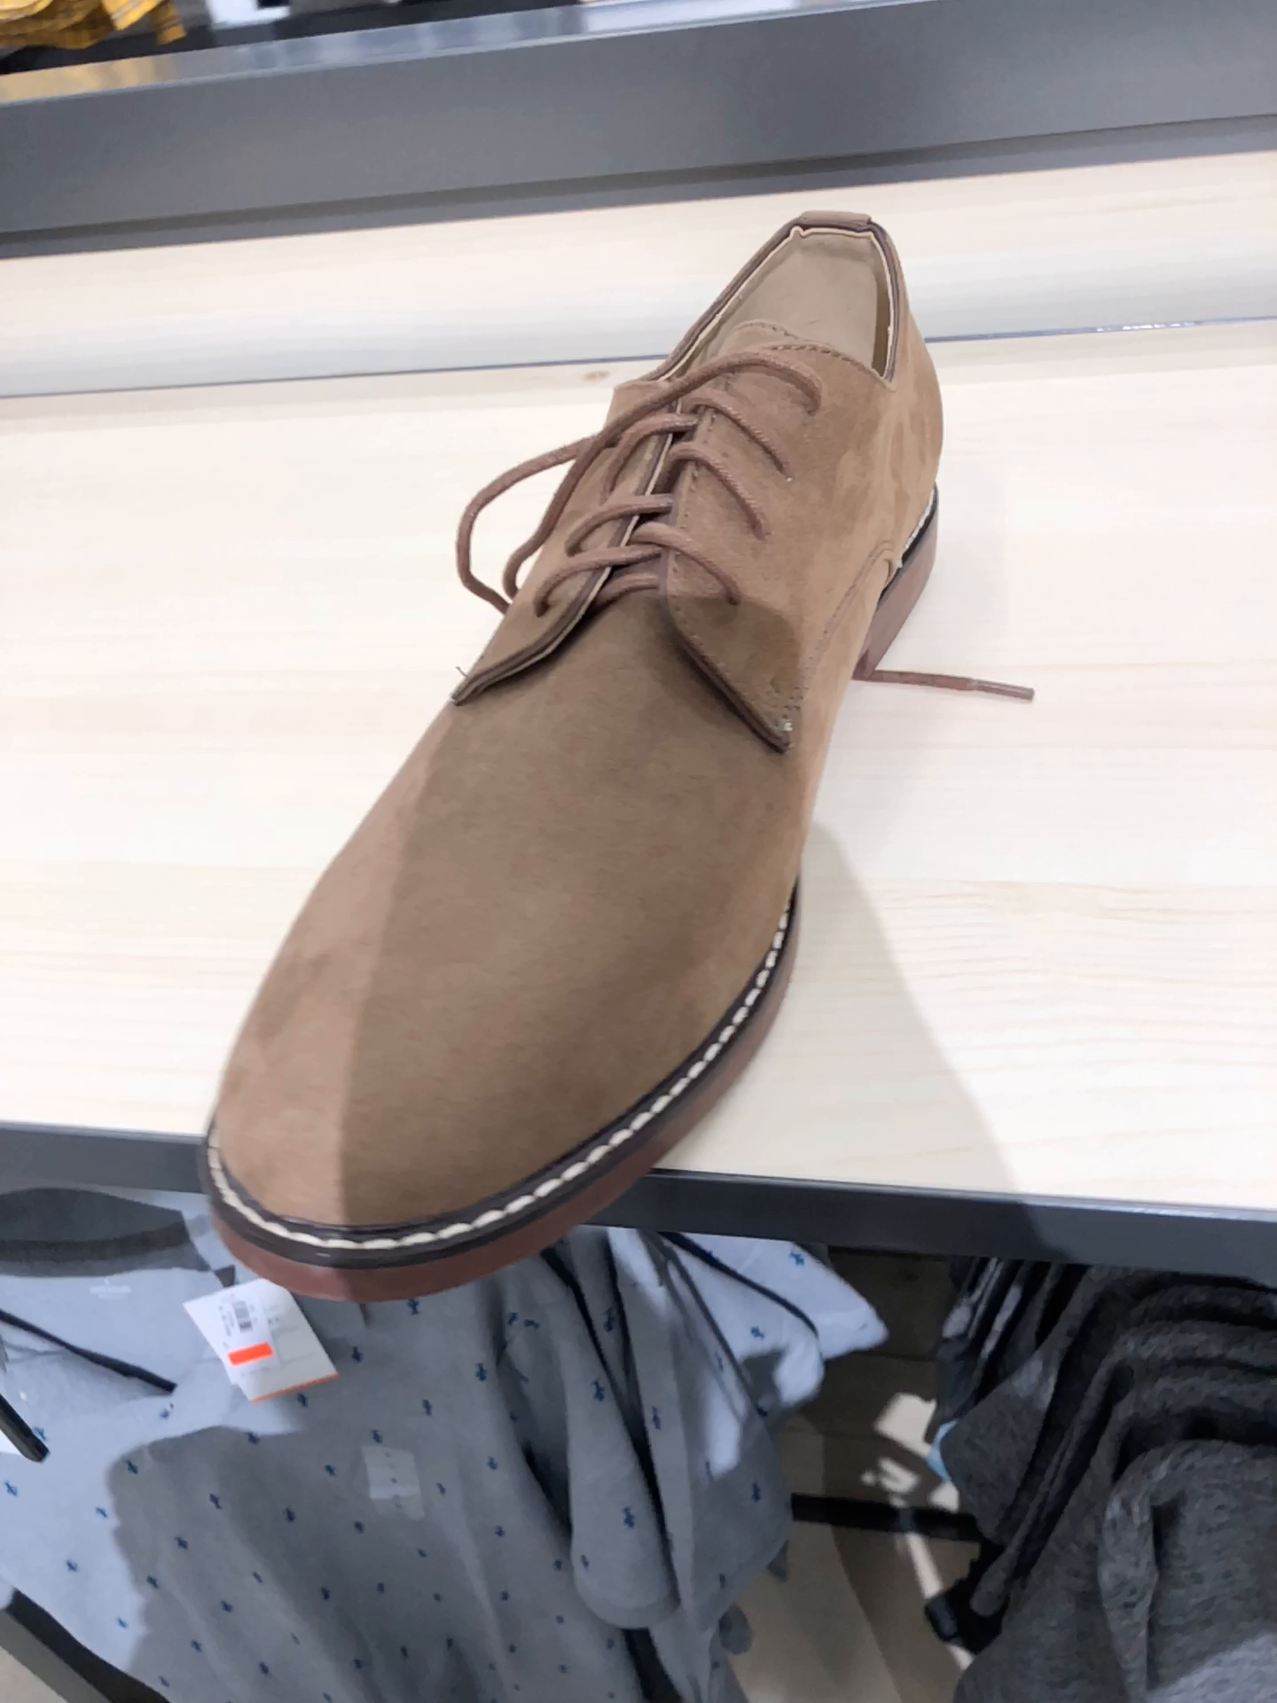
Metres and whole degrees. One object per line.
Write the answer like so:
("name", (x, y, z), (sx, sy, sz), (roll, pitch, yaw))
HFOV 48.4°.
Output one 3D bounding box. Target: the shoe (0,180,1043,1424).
("shoe", (-0.005, -0.048, 0.337), (0.120, 0.110, 0.301), (12, 47, 24))
